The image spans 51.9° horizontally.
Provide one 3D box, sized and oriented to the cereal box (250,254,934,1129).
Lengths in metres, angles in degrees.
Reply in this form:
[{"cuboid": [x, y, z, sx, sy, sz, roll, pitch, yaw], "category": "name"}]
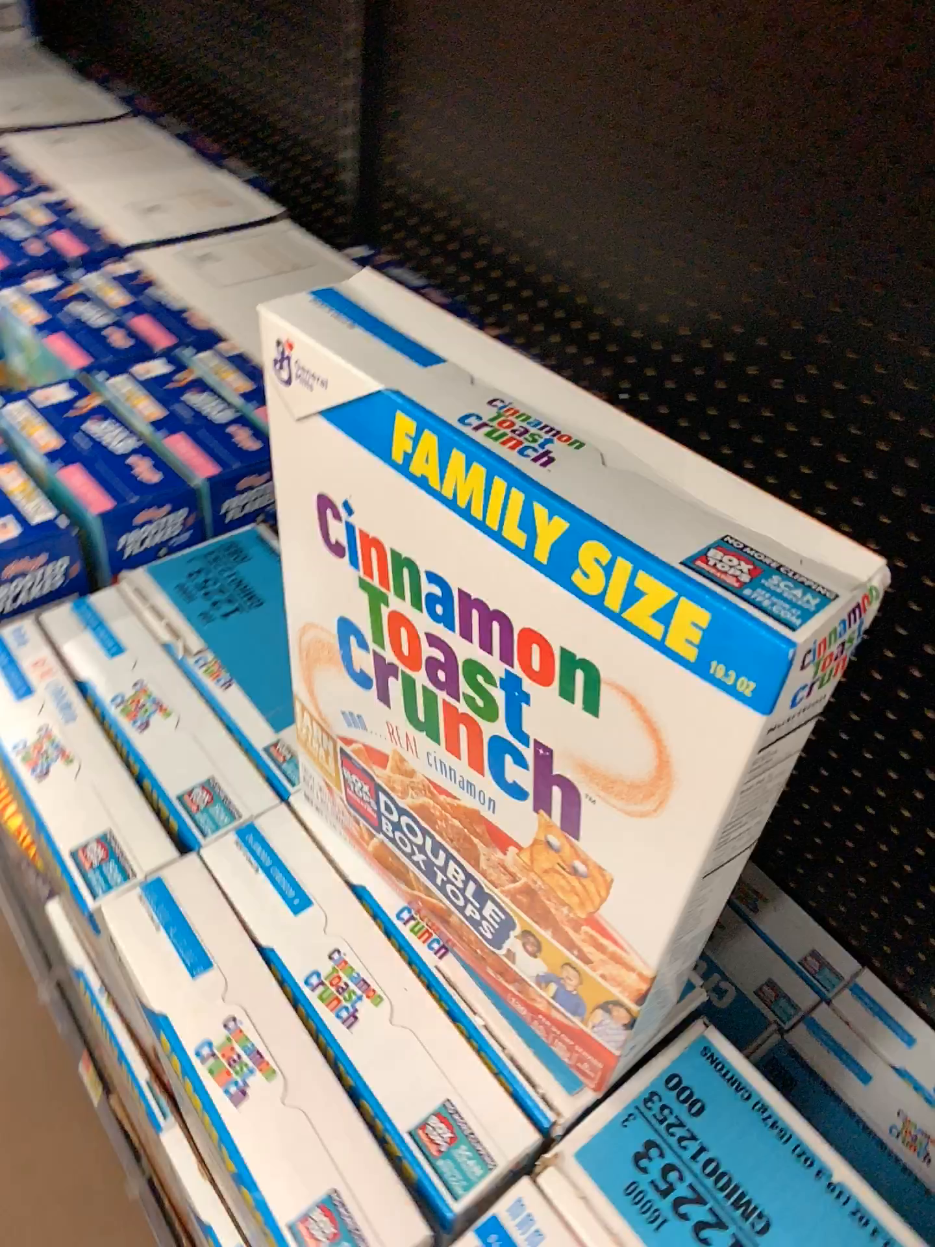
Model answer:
[{"cuboid": [0.015, 0.041, 0.404, 0.060, 0.299, 0.240, -31, 54, -33], "category": "cereal box"}]
